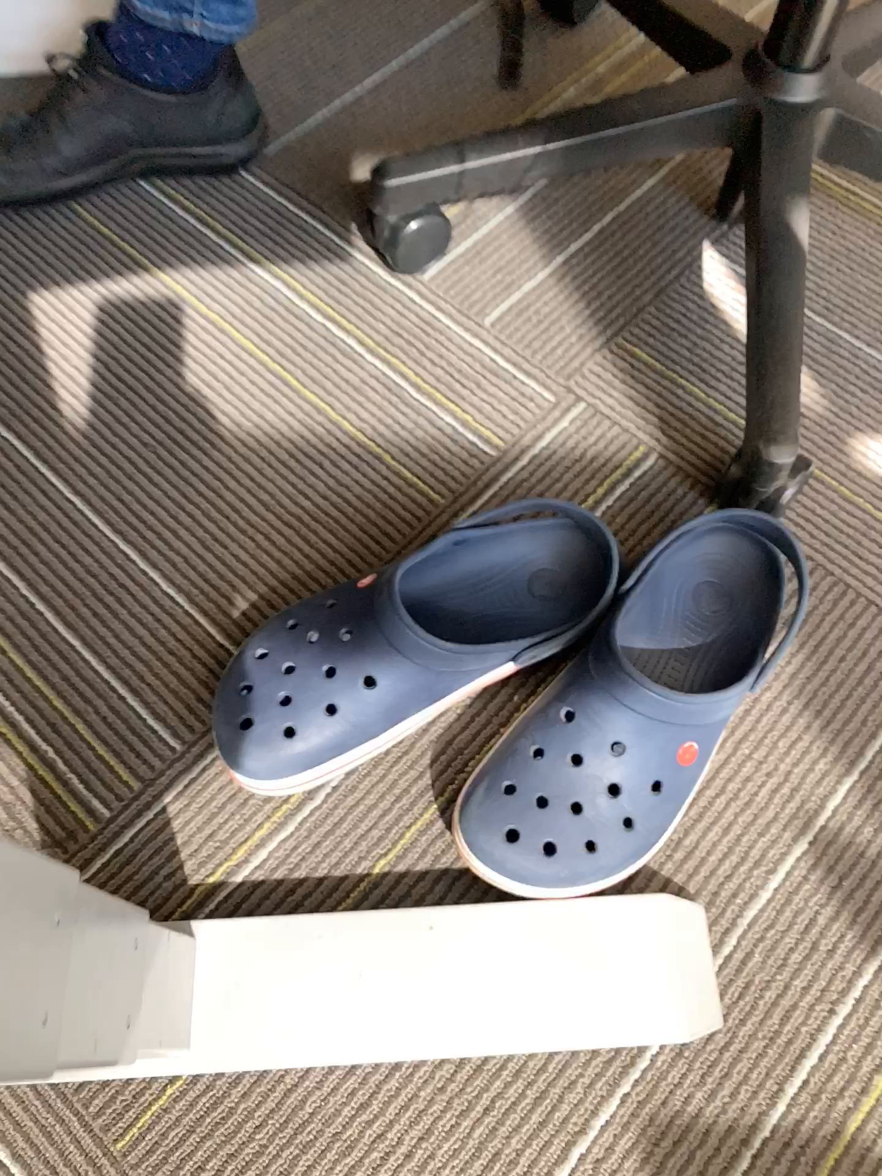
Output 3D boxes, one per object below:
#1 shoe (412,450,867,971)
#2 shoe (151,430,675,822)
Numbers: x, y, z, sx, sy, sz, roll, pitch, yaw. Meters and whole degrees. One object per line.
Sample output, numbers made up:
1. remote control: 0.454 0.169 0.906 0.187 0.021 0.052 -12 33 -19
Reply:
1. shoe: 0.136 0.073 0.613 0.130 0.080 0.330 35 70 15
2. shoe: -0.017 0.023 0.633 0.320 0.080 0.130 -25 68 -11
